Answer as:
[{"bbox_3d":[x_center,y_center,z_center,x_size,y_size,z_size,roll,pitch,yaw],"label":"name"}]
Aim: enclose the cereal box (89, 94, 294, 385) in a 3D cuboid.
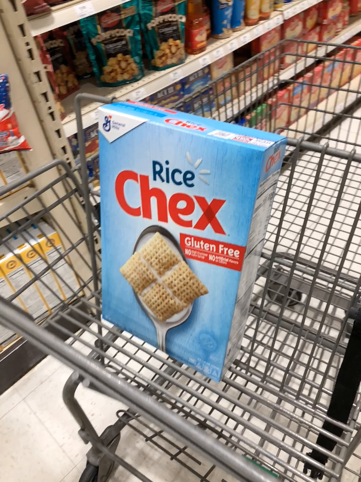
[{"bbox_3d":[-0.007,0.000,0.464,0.200,0.290,0.060,22,34,26],"label":"cereal box"}]
